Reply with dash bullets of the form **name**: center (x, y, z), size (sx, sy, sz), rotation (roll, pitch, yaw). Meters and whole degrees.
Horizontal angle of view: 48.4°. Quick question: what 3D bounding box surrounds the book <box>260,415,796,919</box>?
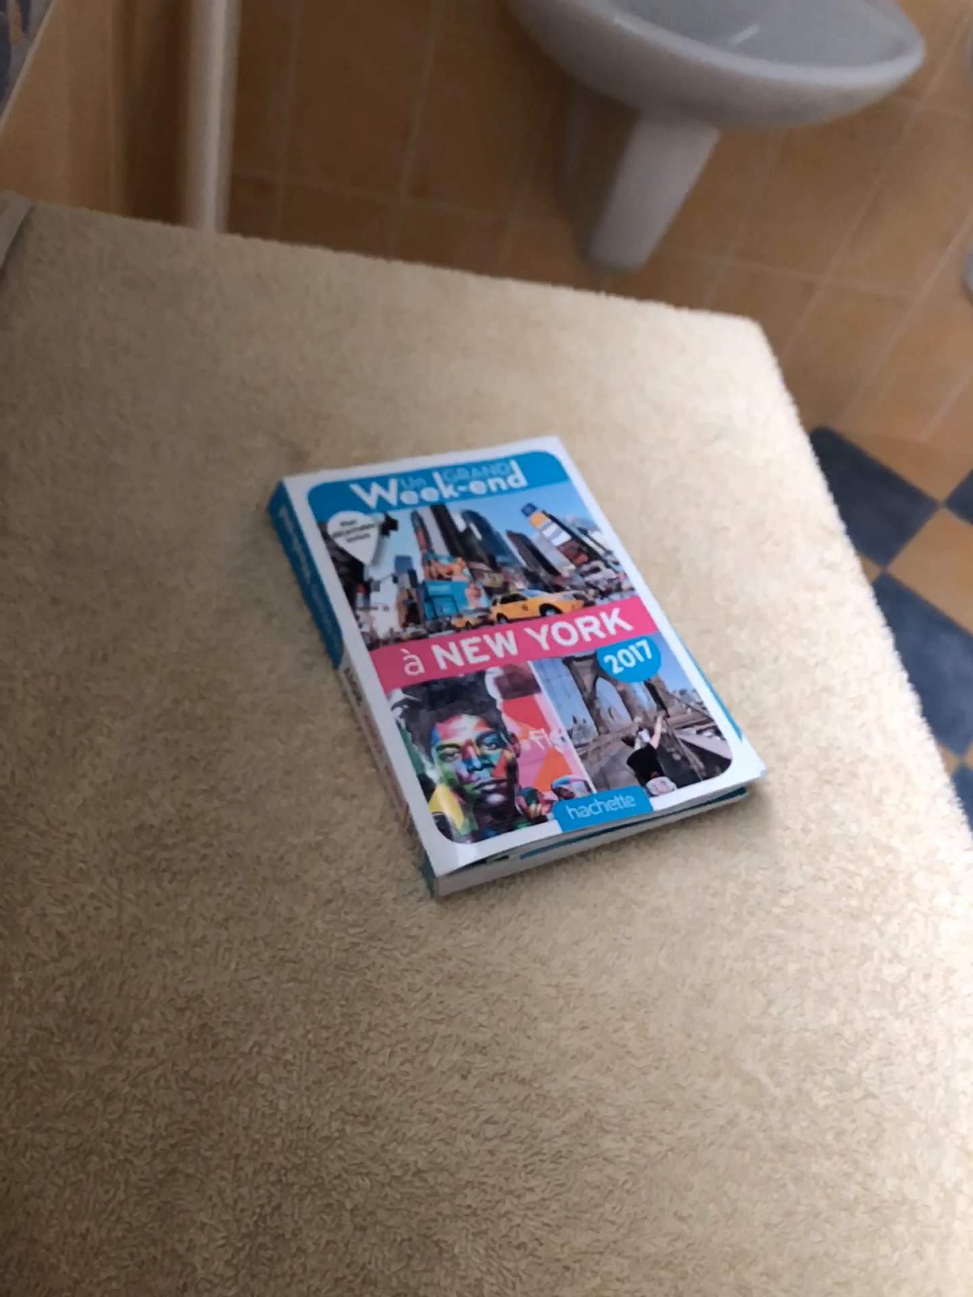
- **book**: center (0.007, -0.006, 0.354), size (0.120, 0.020, 0.160), rotation (-14, 57, -19)
